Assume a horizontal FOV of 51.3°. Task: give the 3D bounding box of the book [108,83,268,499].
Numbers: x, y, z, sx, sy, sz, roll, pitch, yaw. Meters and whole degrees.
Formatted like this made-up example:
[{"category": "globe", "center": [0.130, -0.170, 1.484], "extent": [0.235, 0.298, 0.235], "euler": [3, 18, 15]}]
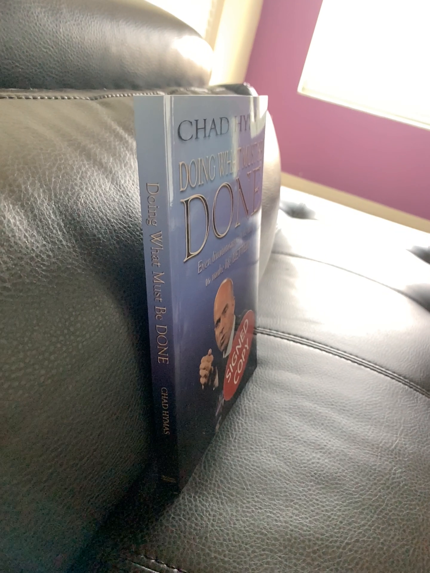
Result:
[{"category": "book", "center": [-0.002, -0.008, 0.298], "extent": [0.025, 0.225, 0.158], "euler": [8, 22, 22]}]
